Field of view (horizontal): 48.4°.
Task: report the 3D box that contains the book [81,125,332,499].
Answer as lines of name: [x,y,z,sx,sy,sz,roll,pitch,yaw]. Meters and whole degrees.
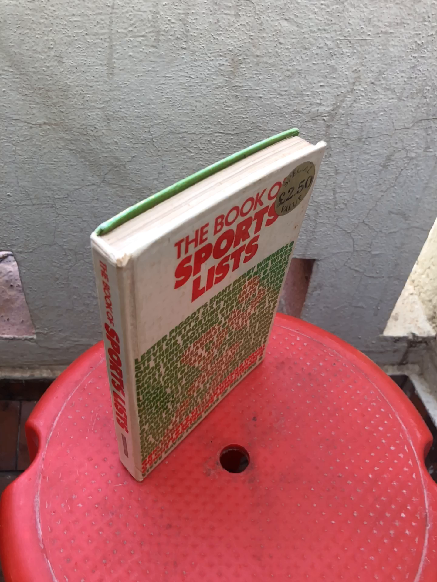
book: [-0.007,0.024,0.314,0.030,0.219,0.151,34,50,25]
